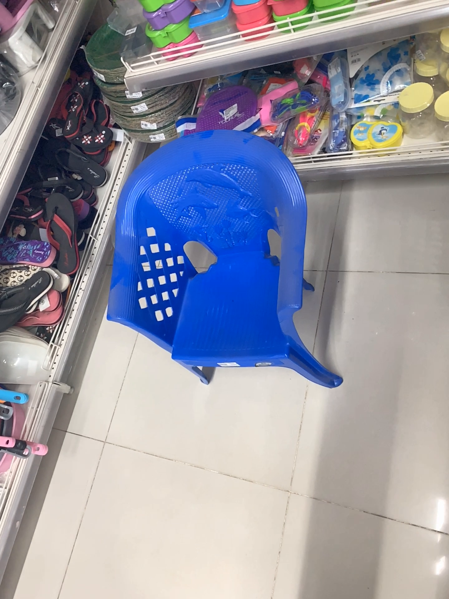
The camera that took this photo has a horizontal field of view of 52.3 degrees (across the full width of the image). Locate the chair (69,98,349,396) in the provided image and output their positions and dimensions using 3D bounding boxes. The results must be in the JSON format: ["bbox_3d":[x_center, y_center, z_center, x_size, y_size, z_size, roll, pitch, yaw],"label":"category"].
[{"bbox_3d":[0.020,-0.059,1.041,0.421,0.468,0.450,-5,66,26],"label":"chair"}]
